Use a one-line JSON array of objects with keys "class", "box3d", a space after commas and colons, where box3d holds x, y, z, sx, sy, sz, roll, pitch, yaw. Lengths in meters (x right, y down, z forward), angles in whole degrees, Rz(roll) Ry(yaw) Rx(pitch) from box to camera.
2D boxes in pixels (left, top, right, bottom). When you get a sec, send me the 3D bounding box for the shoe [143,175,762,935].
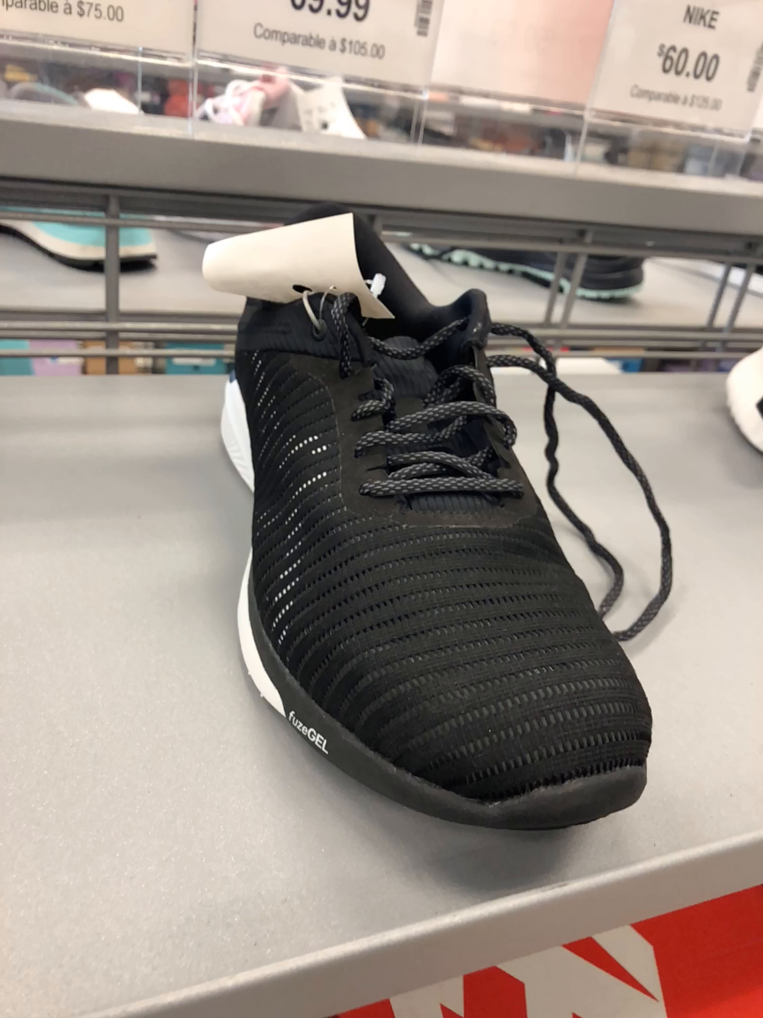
[{"class": "shoe", "box3d": [-0.006, -0.028, 0.321, 0.120, 0.119, 0.302, -4, 32, -23]}]
